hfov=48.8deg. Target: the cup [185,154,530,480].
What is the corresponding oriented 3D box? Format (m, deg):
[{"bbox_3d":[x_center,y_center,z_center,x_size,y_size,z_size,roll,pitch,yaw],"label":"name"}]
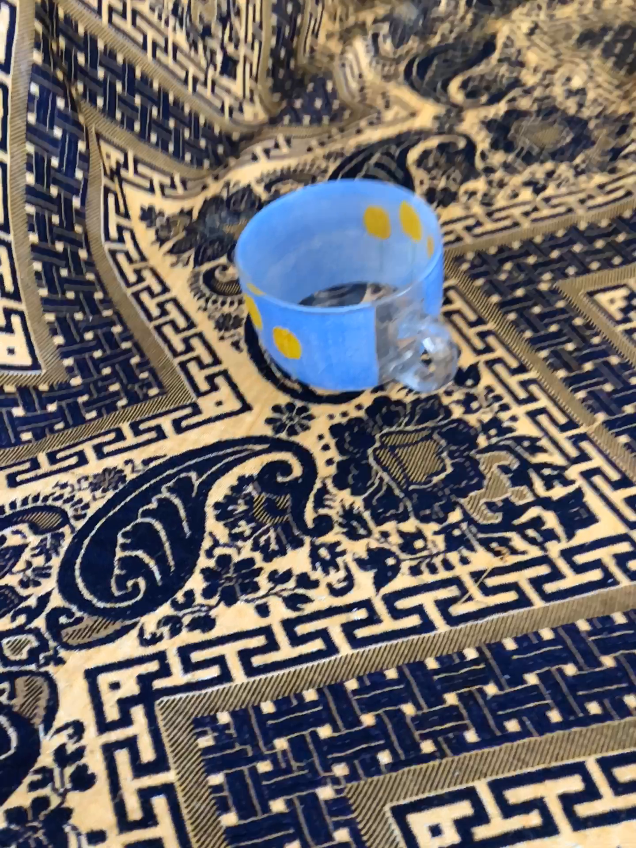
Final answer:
[{"bbox_3d":[0.017,-0.064,0.372,0.108,0.072,0.139,-30,53,-18],"label":"cup"}]
